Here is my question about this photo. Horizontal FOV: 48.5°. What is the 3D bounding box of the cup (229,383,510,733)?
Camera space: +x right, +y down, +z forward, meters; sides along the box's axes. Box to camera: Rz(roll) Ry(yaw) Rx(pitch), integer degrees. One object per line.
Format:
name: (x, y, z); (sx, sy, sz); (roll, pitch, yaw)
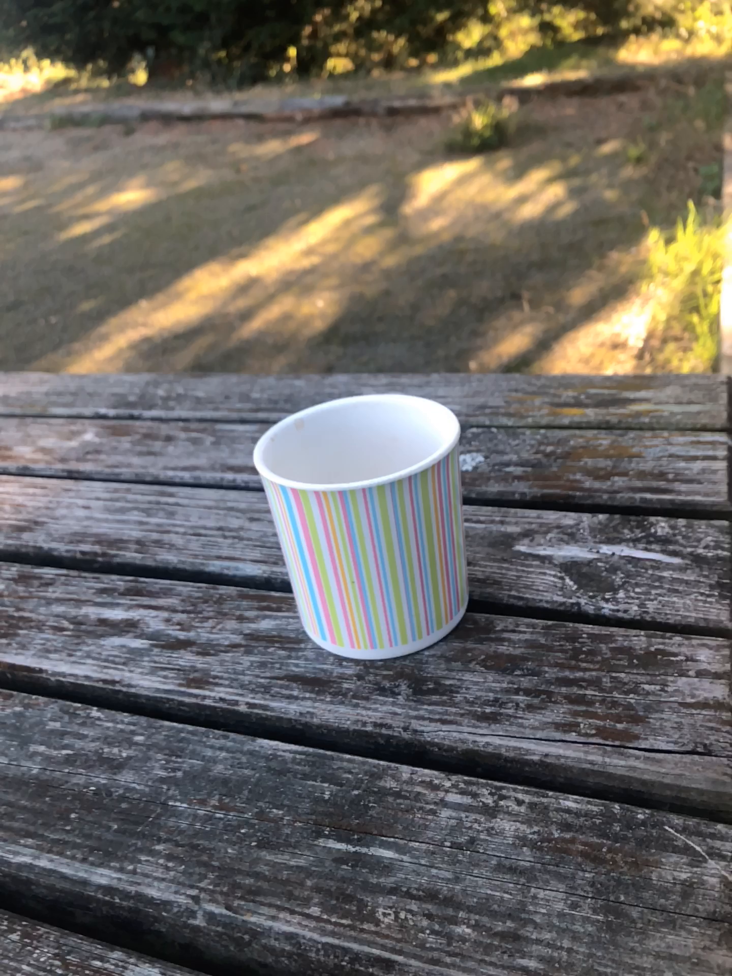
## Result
cup: (-0.003, 0.025, 0.396); (0.098, 0.096, 0.134); (-12, 28, -10)
